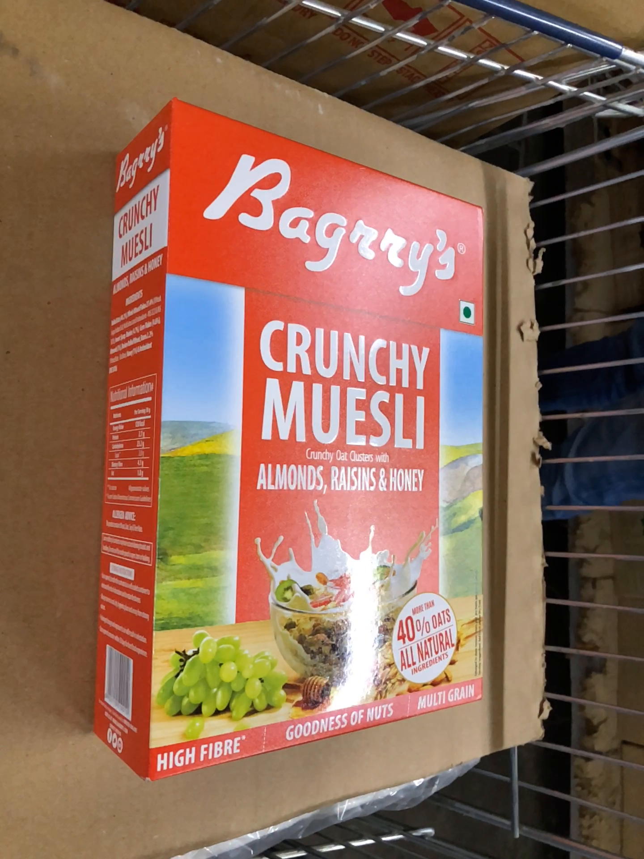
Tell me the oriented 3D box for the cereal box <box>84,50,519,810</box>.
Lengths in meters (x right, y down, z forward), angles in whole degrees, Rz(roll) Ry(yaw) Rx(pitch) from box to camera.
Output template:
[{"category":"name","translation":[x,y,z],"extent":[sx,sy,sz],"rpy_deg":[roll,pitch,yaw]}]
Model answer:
[{"category":"cereal box","translation":[0.000,0.002,0.324],"extent":[0.181,0.070,0.260],"rpy_deg":[4,86,-35]}]
